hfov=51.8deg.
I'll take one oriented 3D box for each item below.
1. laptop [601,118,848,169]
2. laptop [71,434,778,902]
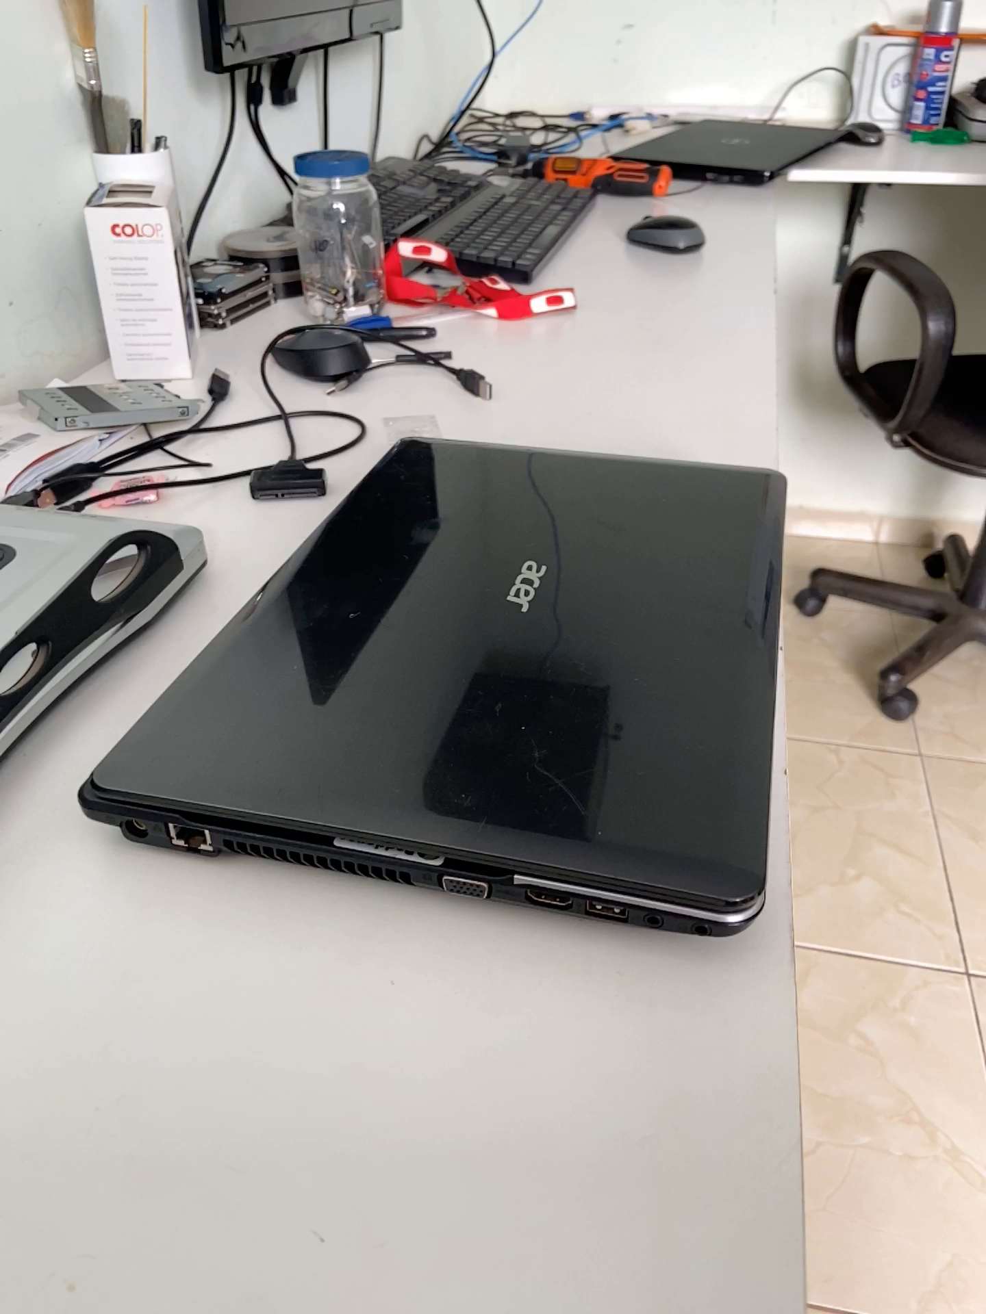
[{"bbox_3d":[0.326,-0.705,1.380,0.238,0.001,0.437,17,37,26],"label":"laptop"},{"bbox_3d":[0.007,-0.032,0.463,0.230,0.005,0.337,7,34,13],"label":"laptop"}]
